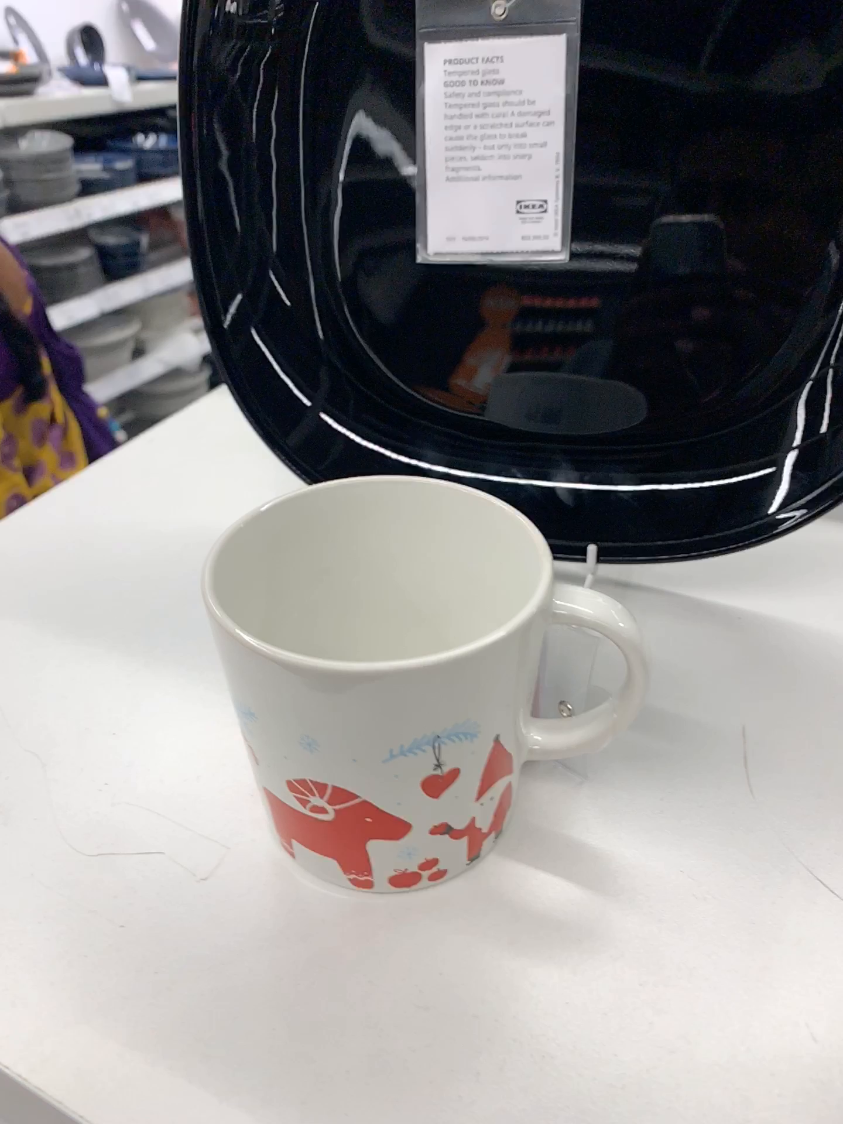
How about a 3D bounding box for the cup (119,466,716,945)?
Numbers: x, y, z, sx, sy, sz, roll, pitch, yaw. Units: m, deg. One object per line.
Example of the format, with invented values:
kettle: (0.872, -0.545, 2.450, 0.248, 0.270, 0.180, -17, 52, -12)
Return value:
cup: (0.000, 0.035, 0.238, 0.120, 0.090, 0.090, 0, 33, 2)
